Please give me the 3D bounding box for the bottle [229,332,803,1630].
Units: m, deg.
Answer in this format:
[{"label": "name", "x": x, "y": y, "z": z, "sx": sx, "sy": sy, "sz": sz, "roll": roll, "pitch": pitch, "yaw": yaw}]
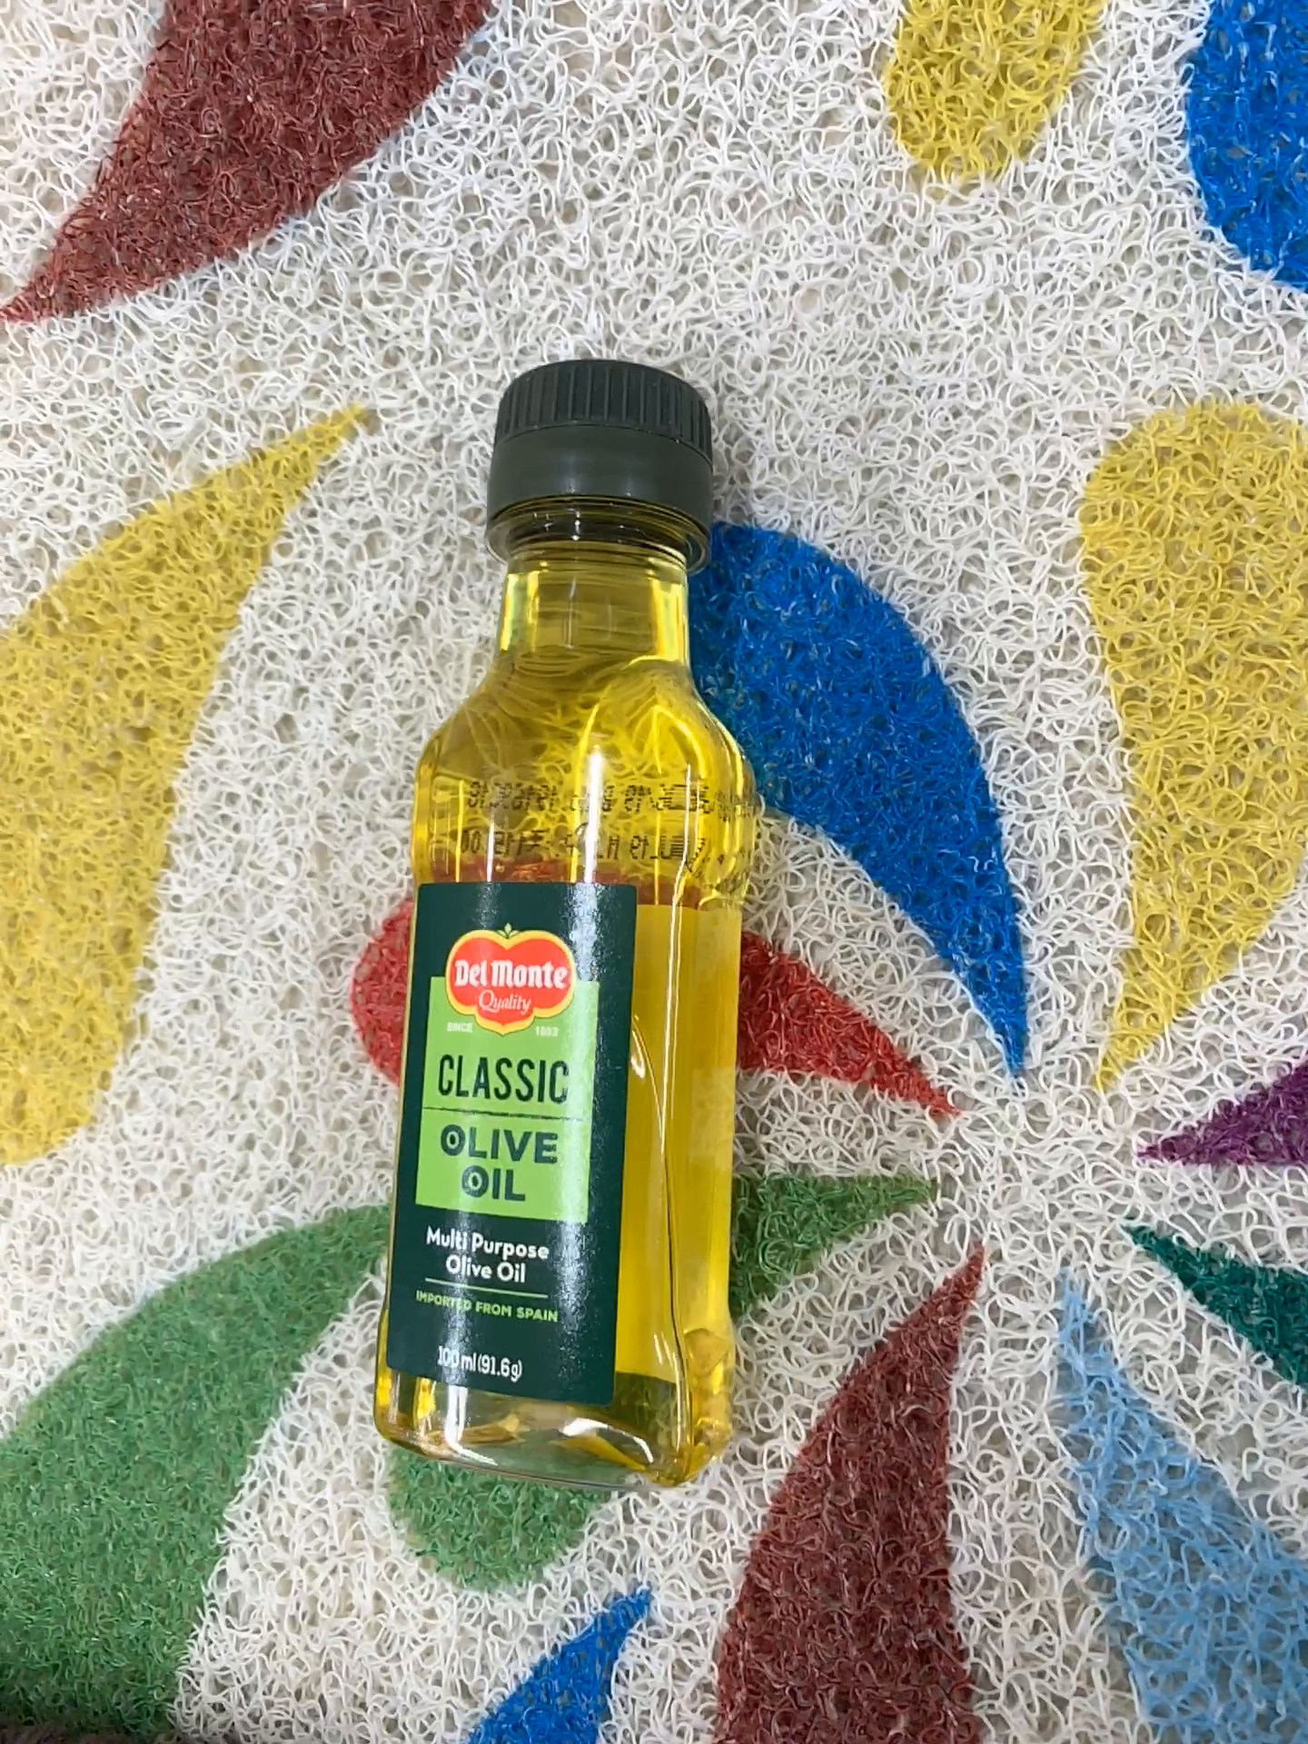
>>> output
[{"label": "bottle", "x": -0.013, "y": 0.010, "z": 0.162, "sx": 0.050, "sy": 0.040, "sz": 0.130, "roll": 3, "pitch": 88, "yaw": 13}]
